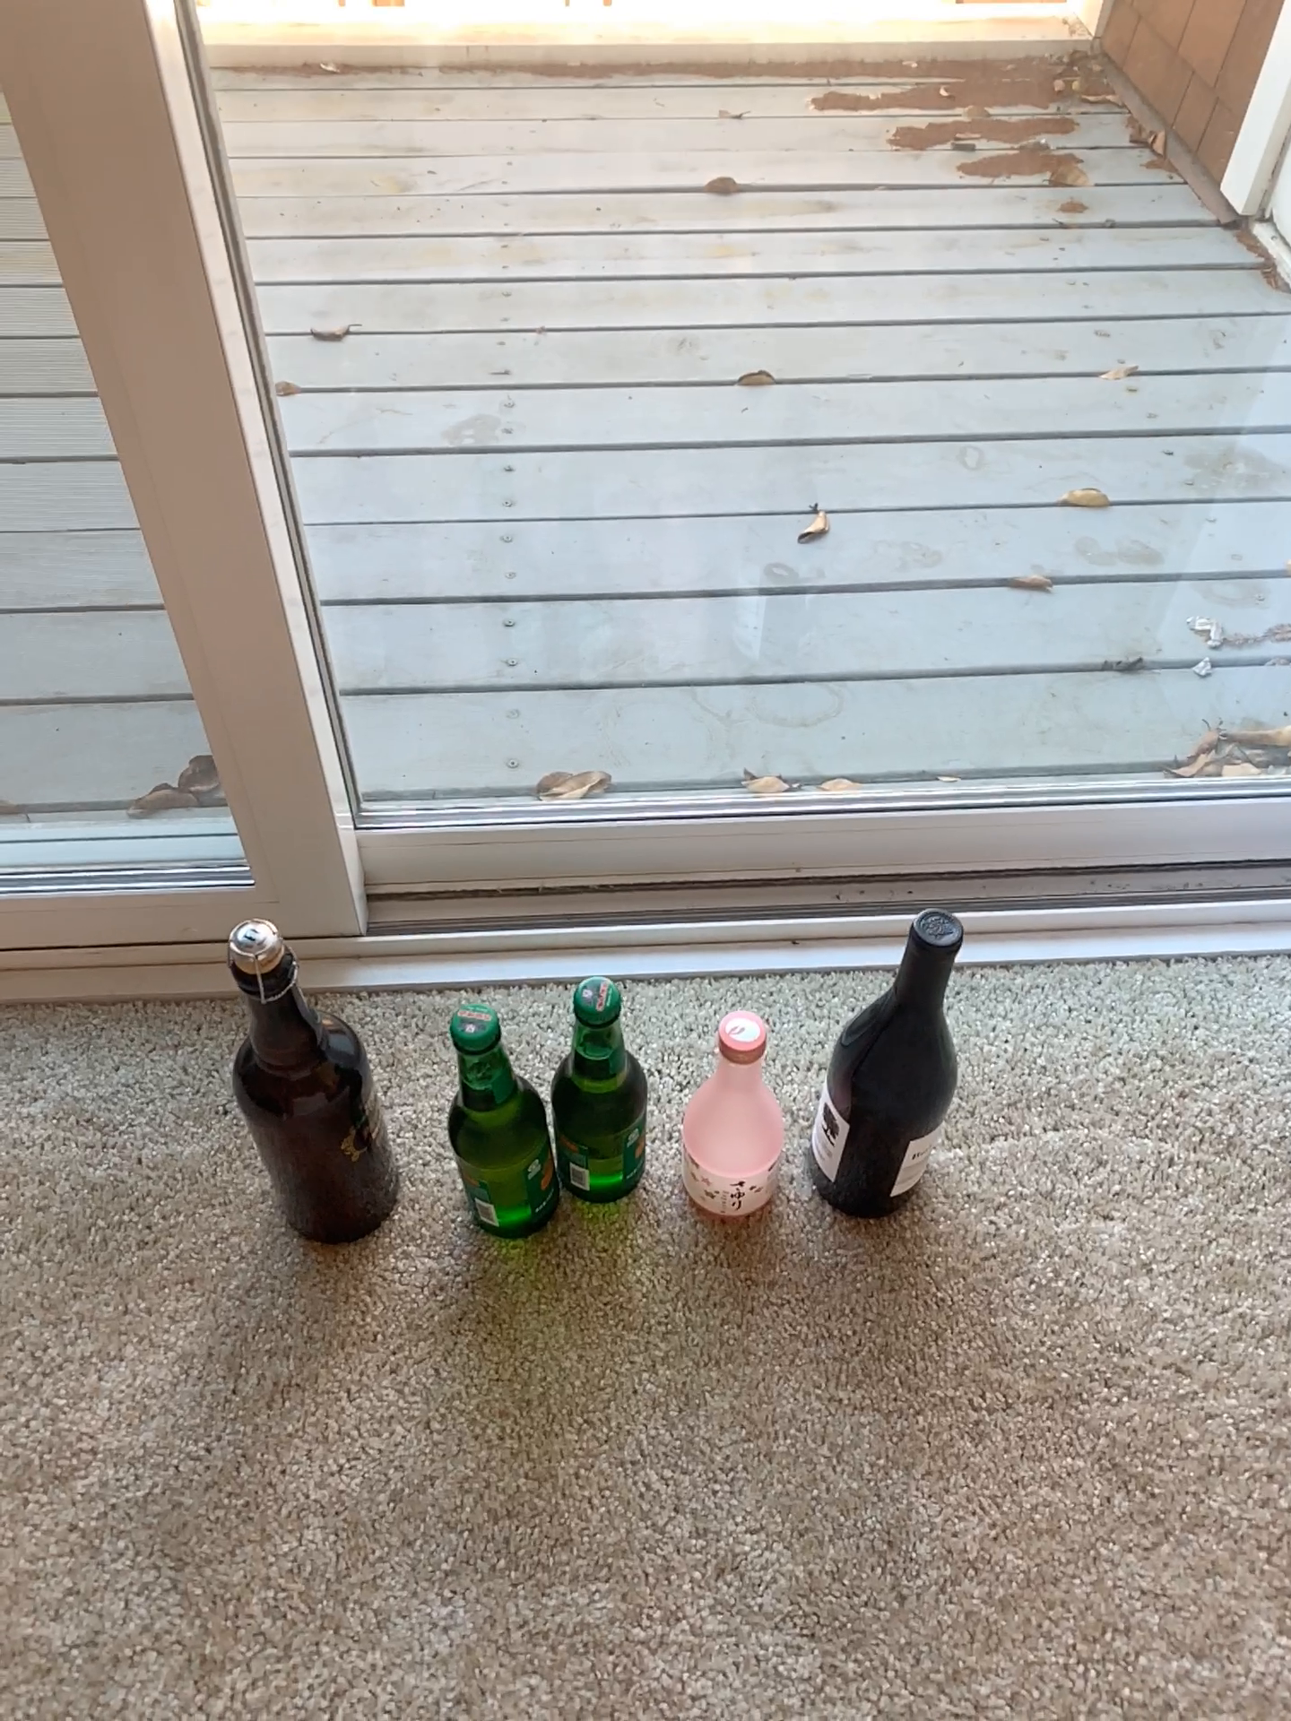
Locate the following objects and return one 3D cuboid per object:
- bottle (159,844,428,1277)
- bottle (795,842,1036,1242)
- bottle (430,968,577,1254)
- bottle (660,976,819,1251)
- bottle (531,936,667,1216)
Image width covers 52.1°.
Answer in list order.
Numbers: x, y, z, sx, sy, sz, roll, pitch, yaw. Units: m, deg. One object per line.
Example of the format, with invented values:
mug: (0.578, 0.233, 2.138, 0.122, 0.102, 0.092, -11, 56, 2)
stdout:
bottle: (-0.199, 0.129, 0.779, 0.090, 0.279, 0.100, -14, 51, -13)
bottle: (0.160, 0.120, 0.813, 0.090, 0.249, 0.110, 13, 51, 9)
bottle: (-0.084, 0.158, 0.810, 0.070, 0.189, 0.080, -7, 50, -8)
bottle: (0.056, 0.160, 0.818, 0.070, 0.169, 0.080, 13, 51, 9)
bottle: (-0.031, 0.139, 0.827, 0.070, 0.189, 0.080, -4, 49, -6)
